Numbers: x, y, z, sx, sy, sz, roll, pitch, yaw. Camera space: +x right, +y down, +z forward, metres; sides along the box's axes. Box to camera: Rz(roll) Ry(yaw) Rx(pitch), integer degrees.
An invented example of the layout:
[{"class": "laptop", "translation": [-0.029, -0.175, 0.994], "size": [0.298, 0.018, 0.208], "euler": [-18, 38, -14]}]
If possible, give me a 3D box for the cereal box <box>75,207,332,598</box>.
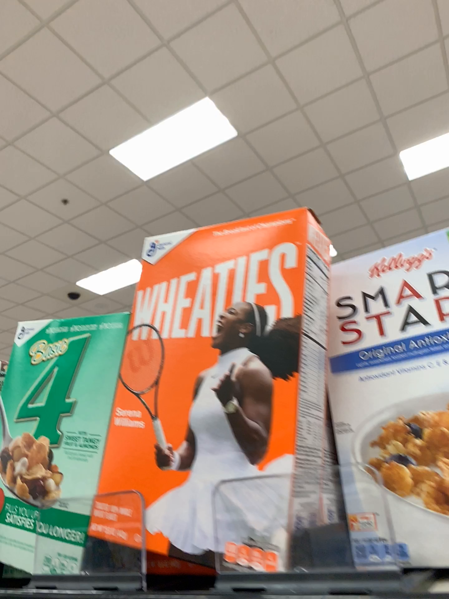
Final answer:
[{"class": "cereal box", "translation": [-0.014, 0.077, 0.430], "size": [0.200, 0.291, 0.070], "euler": [-6, -22, 32]}]
